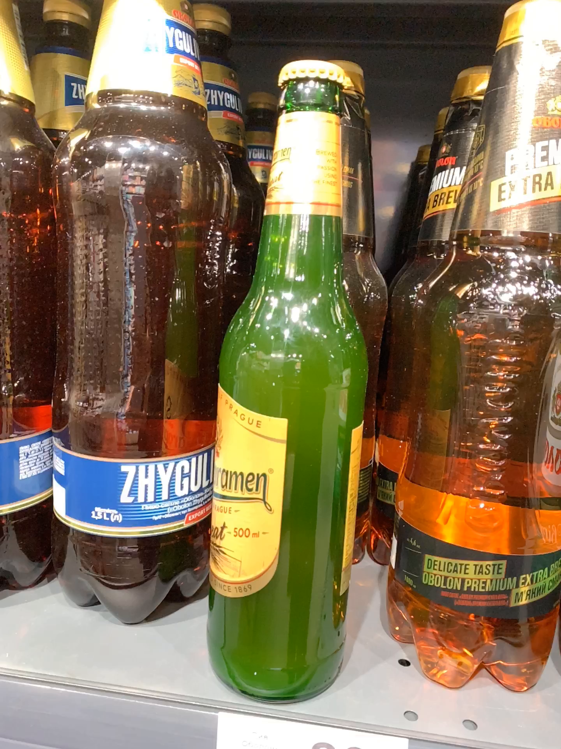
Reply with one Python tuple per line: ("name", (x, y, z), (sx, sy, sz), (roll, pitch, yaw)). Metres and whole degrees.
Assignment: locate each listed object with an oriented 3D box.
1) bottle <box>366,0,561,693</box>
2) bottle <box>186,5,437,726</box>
("bottle", (0.091, -0.011, 0.245), (0.075, 0.270, 0.066), (2, 10, -6))
("bottle", (0.007, 0.002, 0.246), (0.067, 0.255, 0.062), (3, 10, -1))
